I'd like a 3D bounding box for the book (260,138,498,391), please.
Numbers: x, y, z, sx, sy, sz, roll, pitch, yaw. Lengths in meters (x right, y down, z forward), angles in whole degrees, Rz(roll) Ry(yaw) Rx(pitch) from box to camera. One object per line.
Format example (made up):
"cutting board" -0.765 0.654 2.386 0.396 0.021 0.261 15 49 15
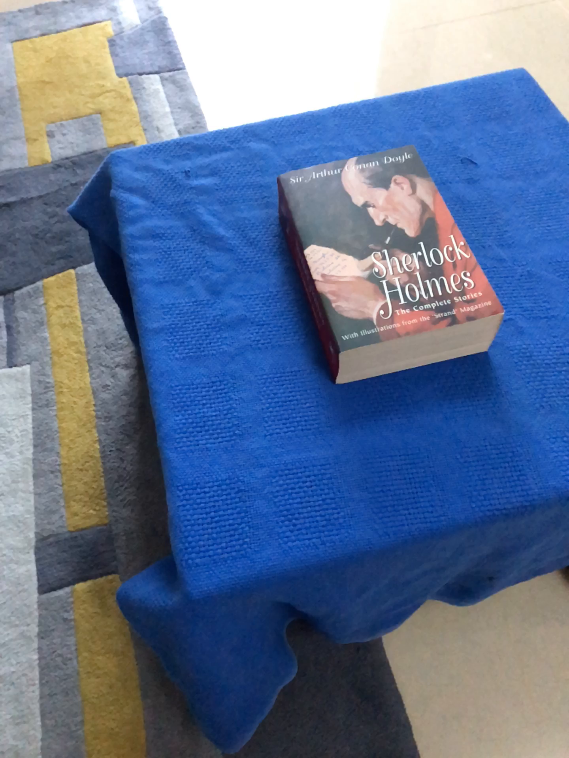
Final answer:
"book" 0.082 -0.124 0.633 0.160 0.070 0.241 -13 59 -5
